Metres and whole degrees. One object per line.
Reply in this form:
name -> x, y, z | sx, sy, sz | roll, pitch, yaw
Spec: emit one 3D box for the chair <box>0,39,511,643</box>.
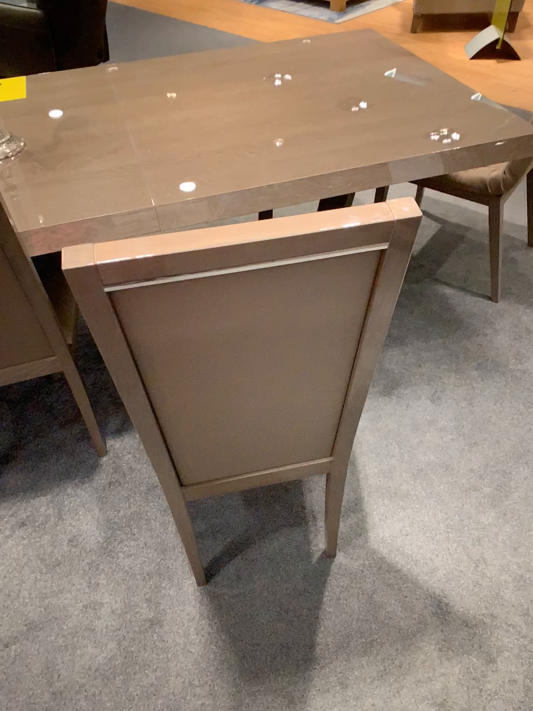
chair -> -0.054, 0.016, 1.070 | 0.538, 0.946, 0.591 | -13, 45, -9
